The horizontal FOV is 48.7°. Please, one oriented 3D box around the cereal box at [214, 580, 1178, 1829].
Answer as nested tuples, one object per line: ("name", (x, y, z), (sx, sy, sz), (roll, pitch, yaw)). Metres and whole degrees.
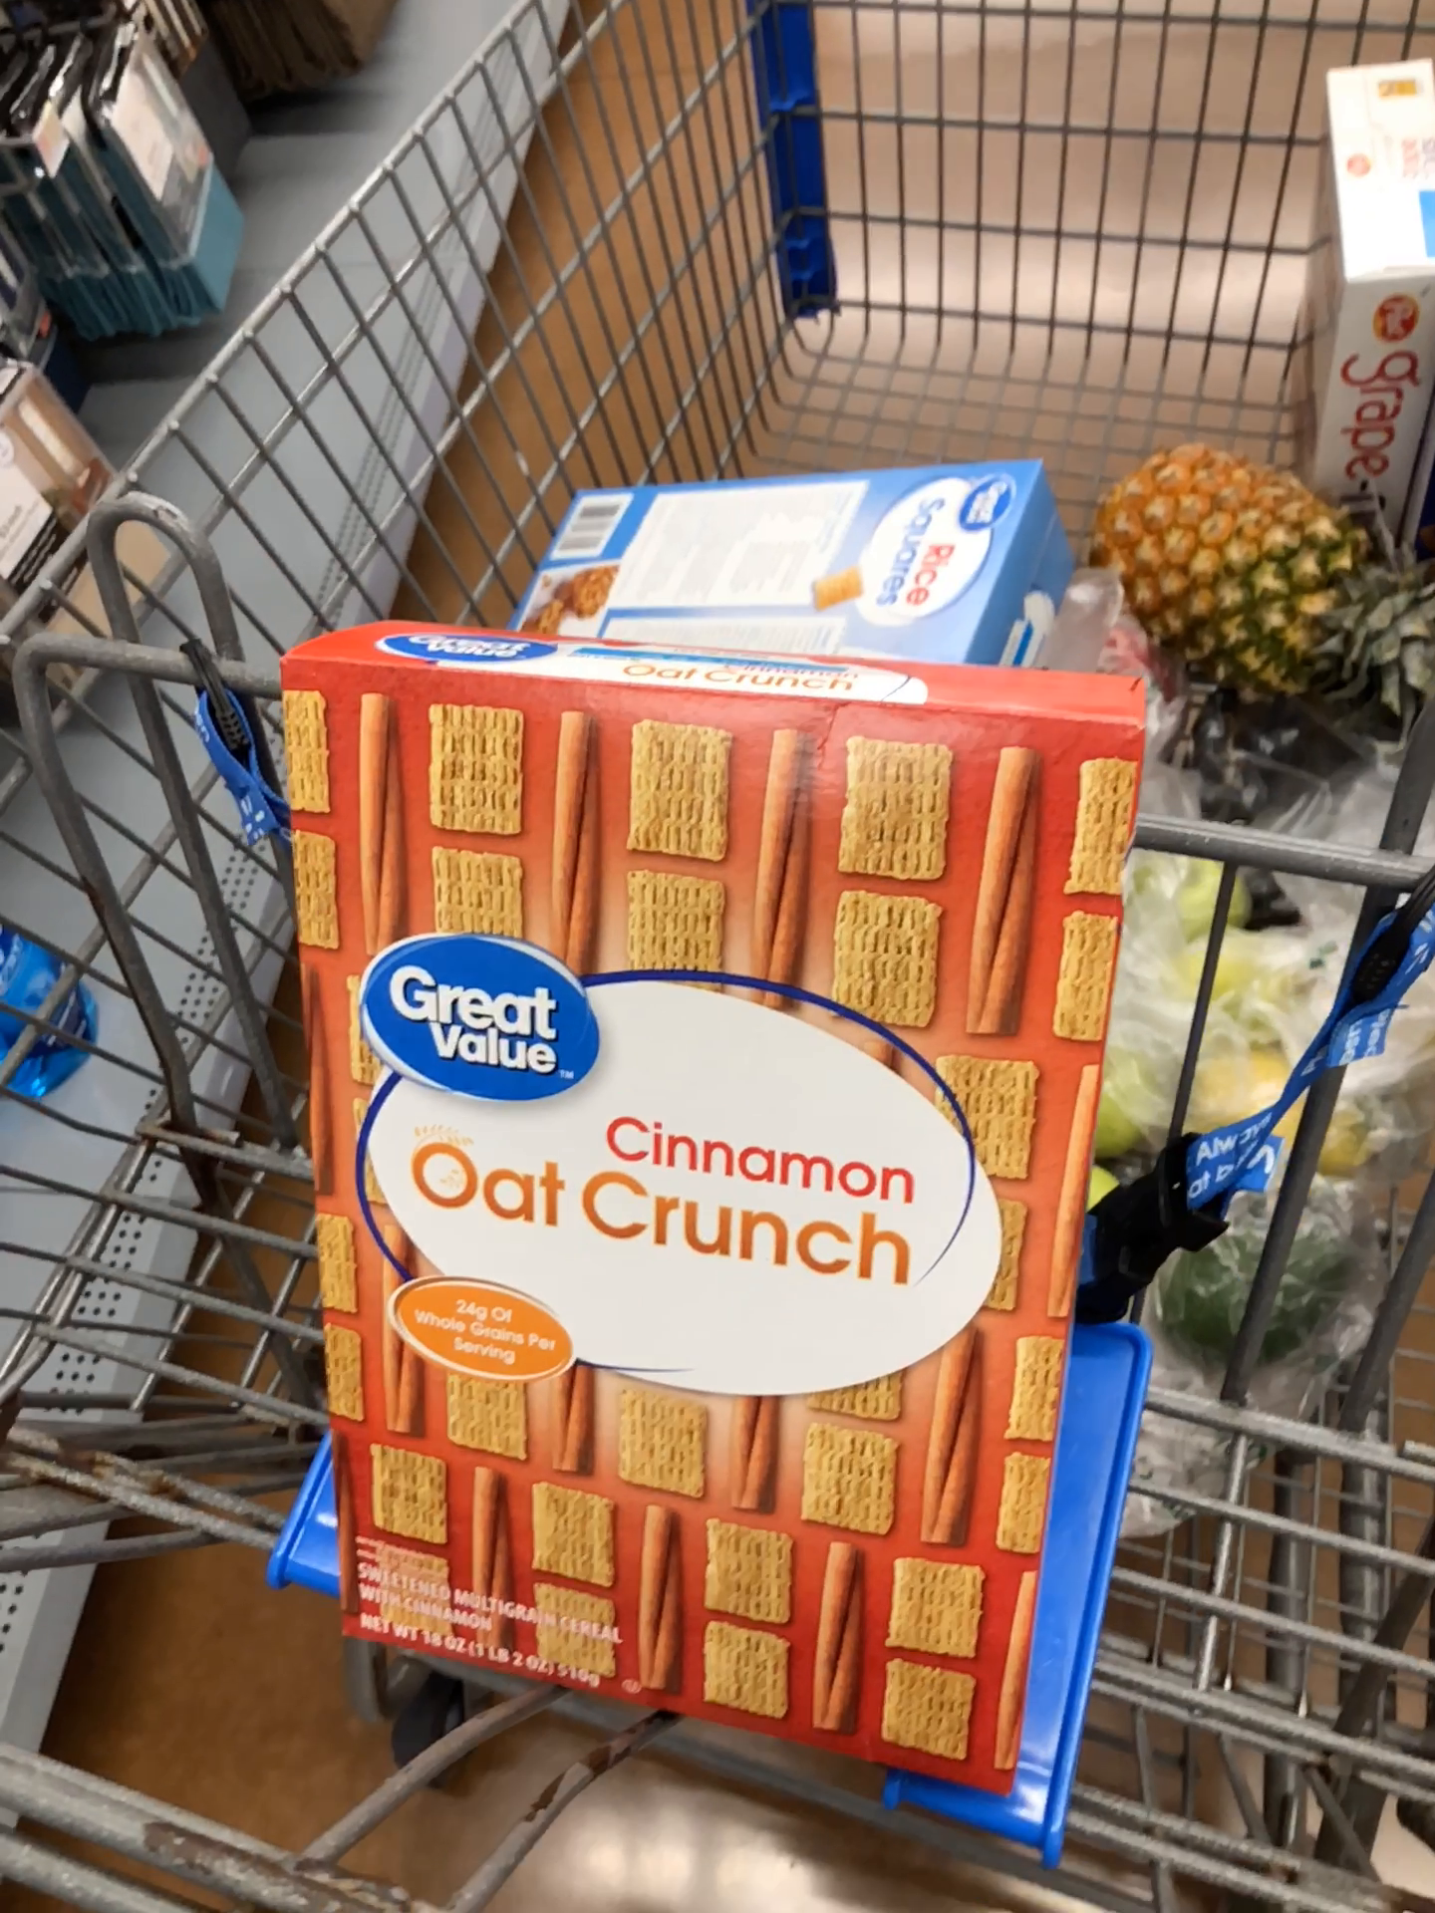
("cereal box", (-0.008, 0.060, 0.397), (0.200, 0.280, 0.070), (8, 21, 13))
